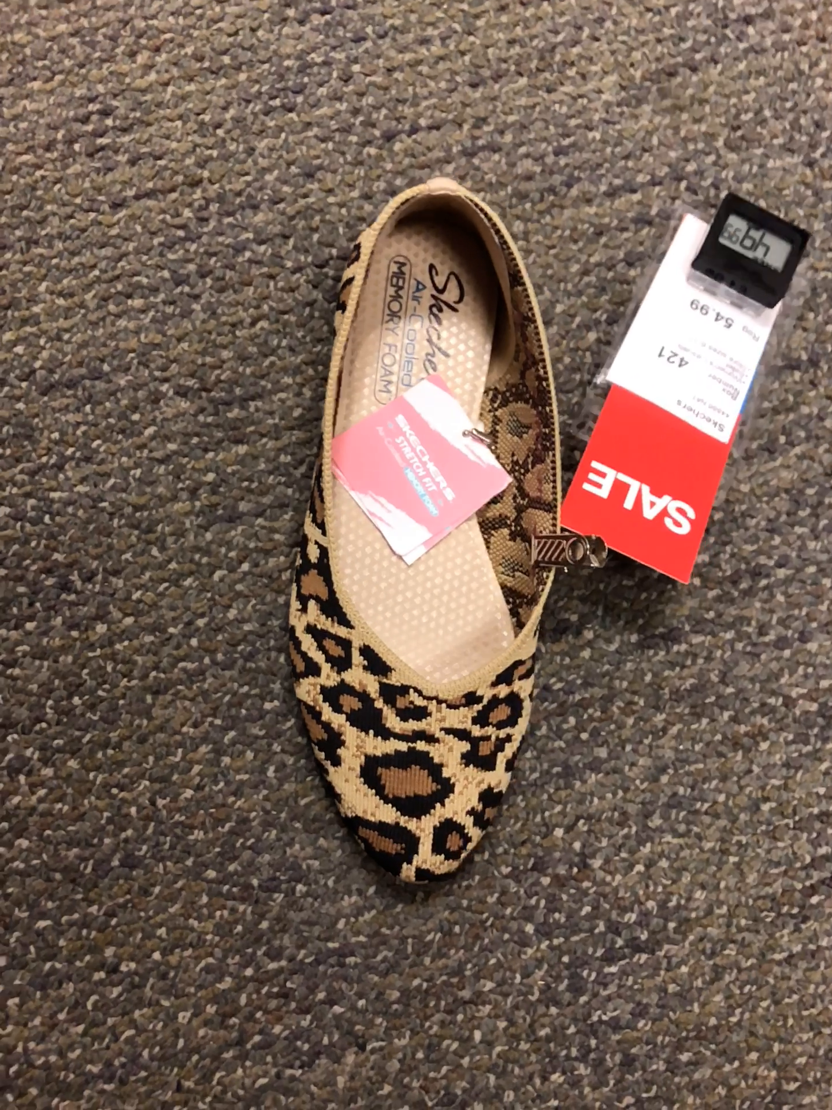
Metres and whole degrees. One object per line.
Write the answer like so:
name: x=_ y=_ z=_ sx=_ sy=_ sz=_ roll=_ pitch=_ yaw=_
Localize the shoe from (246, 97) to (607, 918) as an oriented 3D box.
shoe: x=-0.001 y=-0.016 z=0.327 sx=0.105 sy=0.086 sz=0.254 roll=0 pitch=82 yaw=-4
